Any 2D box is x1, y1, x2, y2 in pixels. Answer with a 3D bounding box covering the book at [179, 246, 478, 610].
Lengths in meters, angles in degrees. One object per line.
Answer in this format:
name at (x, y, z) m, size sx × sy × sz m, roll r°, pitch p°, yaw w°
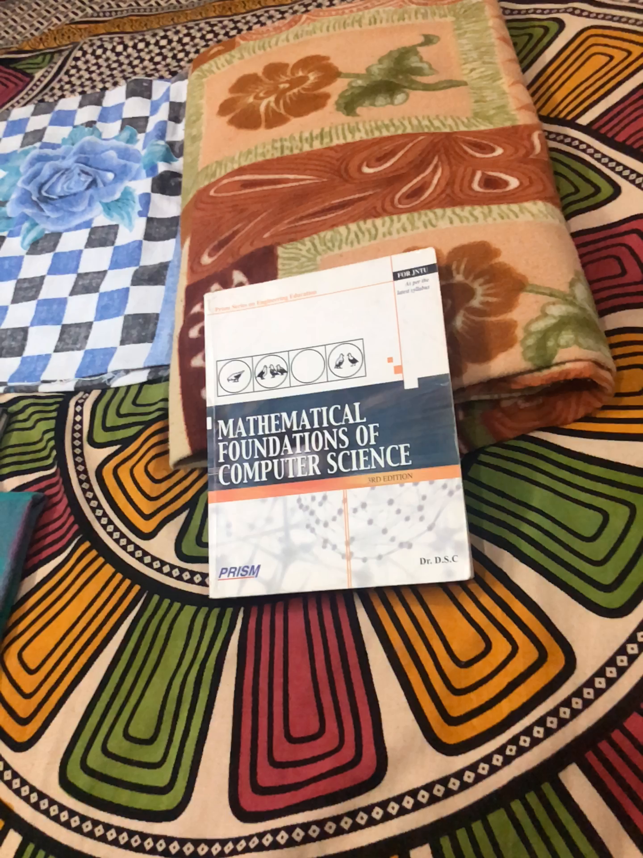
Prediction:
book at (-0.001, 0.003, 0.506) m, size 0.190 × 0.050 × 0.230 m, roll -8°, pitch 76°, yaw 14°
